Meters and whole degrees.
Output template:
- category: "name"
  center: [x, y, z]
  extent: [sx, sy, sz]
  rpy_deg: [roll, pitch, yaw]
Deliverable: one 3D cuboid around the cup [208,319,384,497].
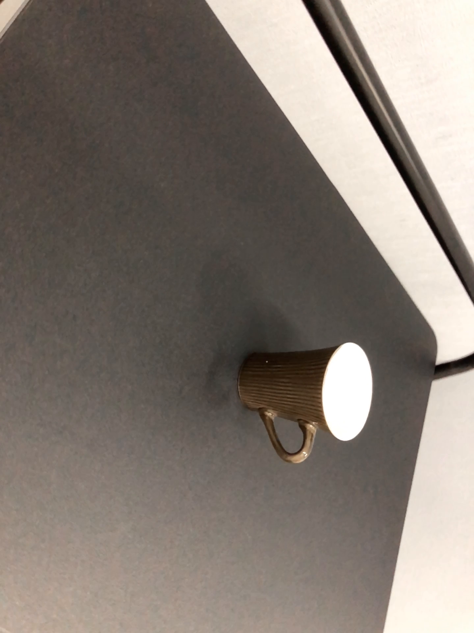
- category: "cup"
  center: [0.042, 0.057, 0.350]
  extent: [0.065, 0.069, 0.090]
  rpy_deg: [50, 54, -37]
